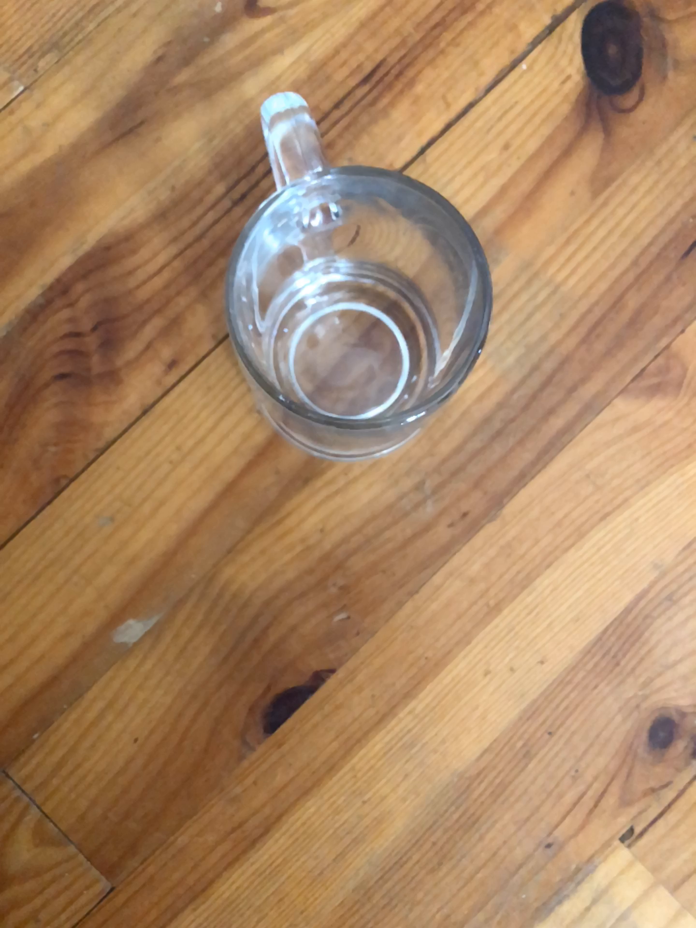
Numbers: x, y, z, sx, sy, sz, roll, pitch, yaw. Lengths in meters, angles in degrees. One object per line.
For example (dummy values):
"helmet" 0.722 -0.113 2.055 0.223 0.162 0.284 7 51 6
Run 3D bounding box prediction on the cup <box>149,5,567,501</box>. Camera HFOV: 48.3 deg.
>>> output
"cup" 0.000 -0.061 0.284 0.091 0.111 0.128 -16 88 -4
